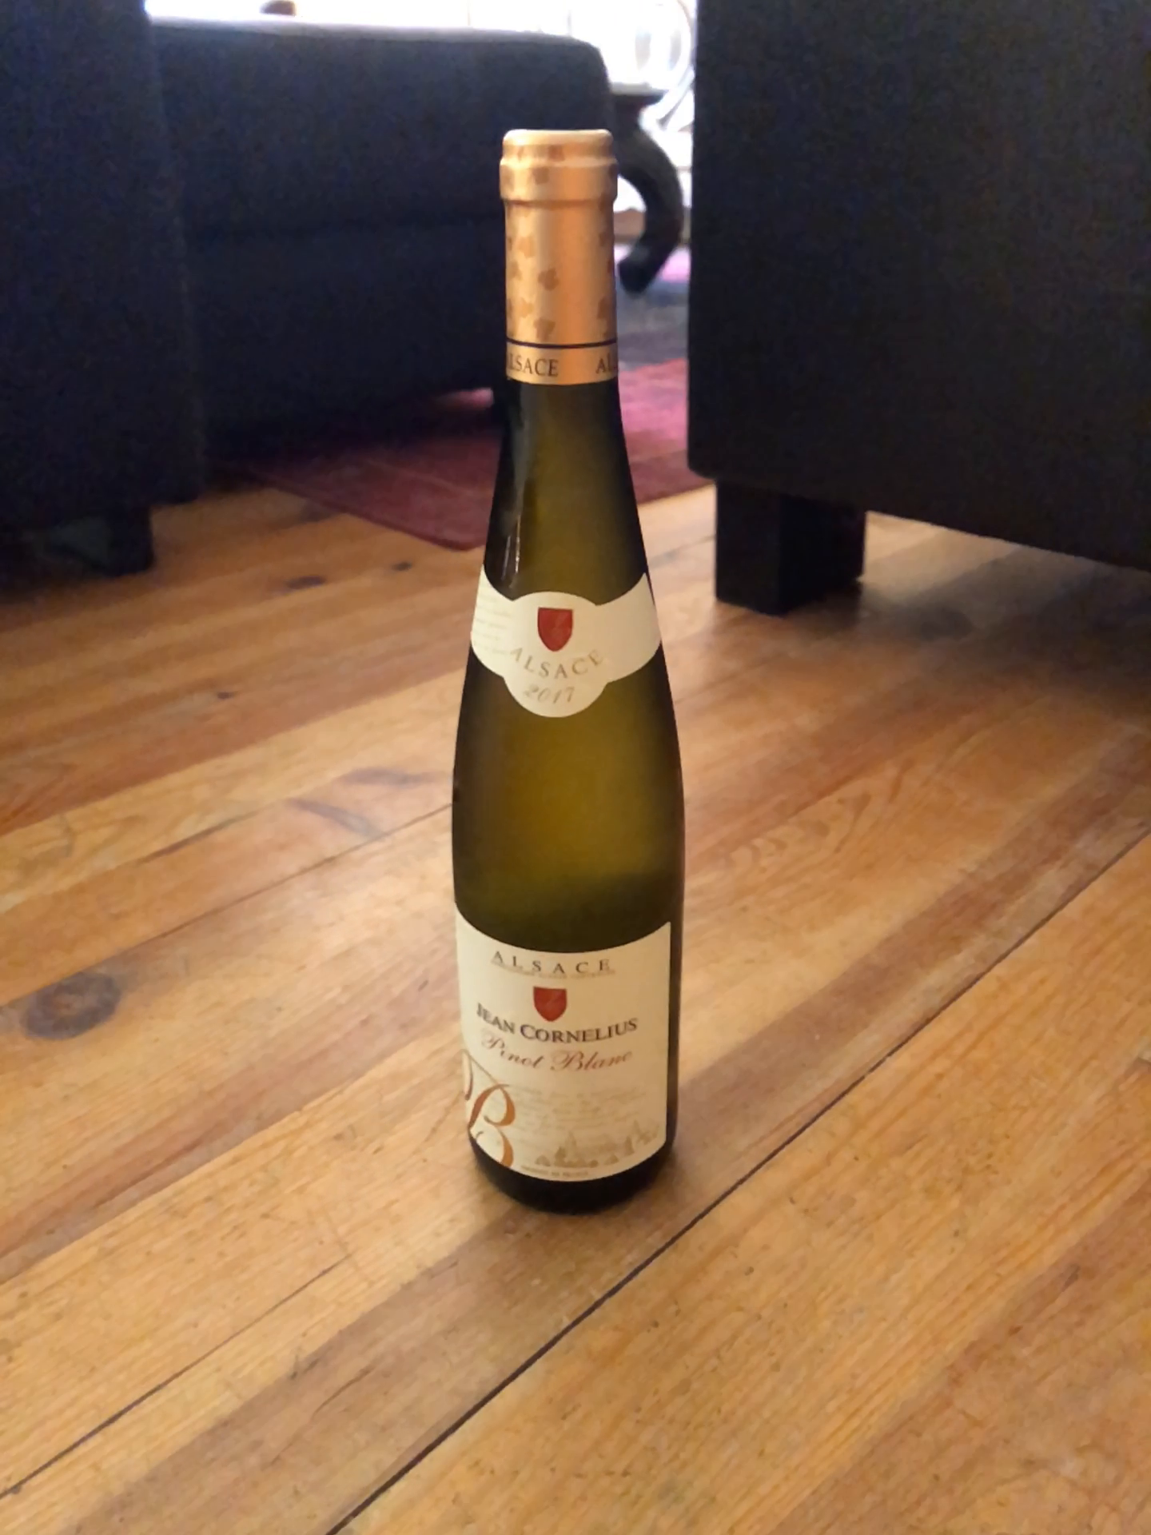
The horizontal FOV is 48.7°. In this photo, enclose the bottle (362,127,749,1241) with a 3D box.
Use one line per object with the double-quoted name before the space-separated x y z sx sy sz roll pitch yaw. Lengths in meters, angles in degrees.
"bottle" 0.001 -0.012 0.378 0.080 0.318 0.080 0 26 0
